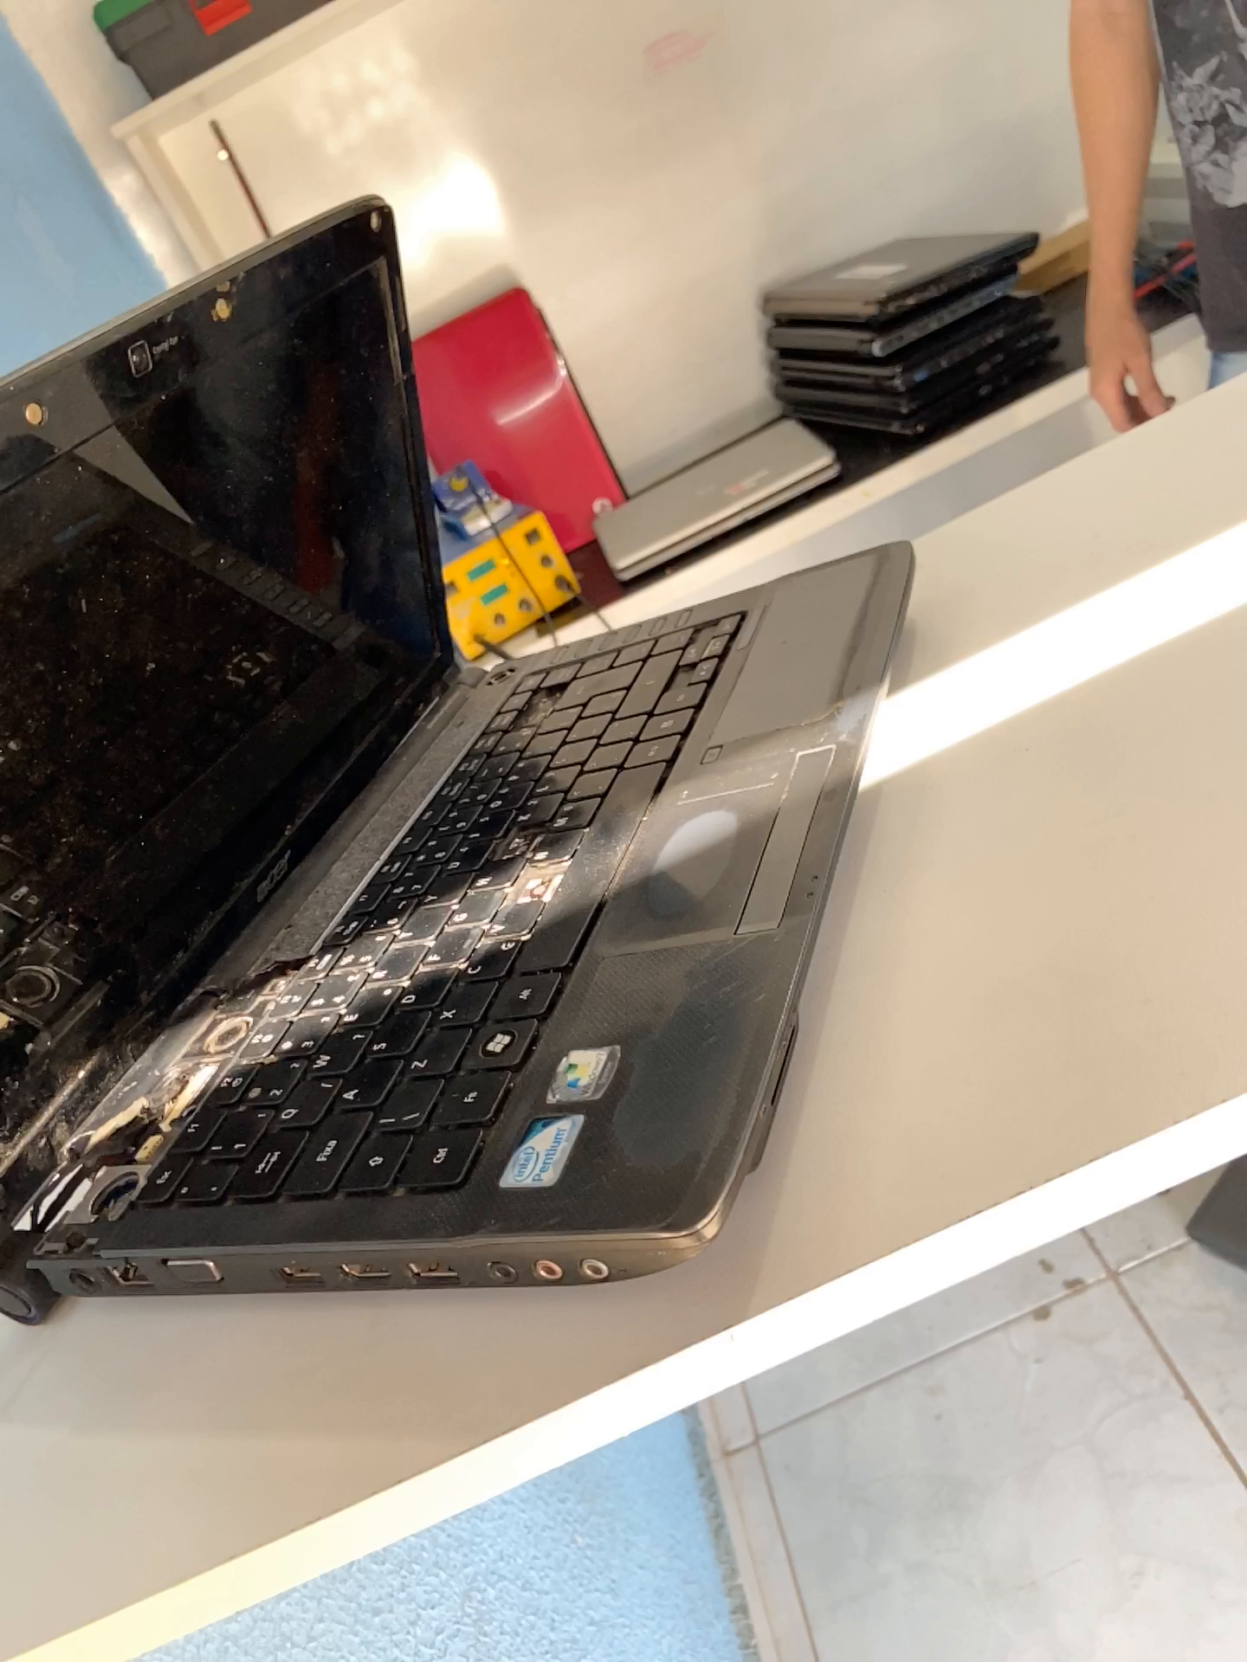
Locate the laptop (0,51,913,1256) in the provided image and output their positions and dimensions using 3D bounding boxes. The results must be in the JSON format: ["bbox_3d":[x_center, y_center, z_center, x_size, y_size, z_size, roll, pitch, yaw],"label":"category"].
[{"bbox_3d":[-0.076,-0.071,0.397,0.228,0.182,0.335,-13,30,29],"label":"laptop"}]
